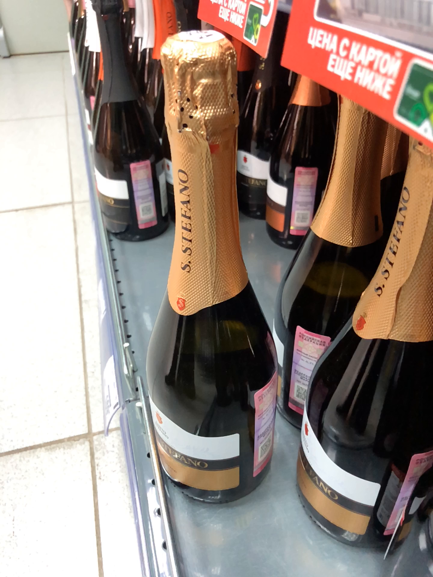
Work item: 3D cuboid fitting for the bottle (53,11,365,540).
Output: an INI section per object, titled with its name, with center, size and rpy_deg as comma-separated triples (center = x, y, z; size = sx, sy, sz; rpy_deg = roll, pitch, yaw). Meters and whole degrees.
[bottle]
center = -0.003, 0.011, 0.293
size = 0.090, 0.298, 0.100
rpy_deg = -27, 43, -30
